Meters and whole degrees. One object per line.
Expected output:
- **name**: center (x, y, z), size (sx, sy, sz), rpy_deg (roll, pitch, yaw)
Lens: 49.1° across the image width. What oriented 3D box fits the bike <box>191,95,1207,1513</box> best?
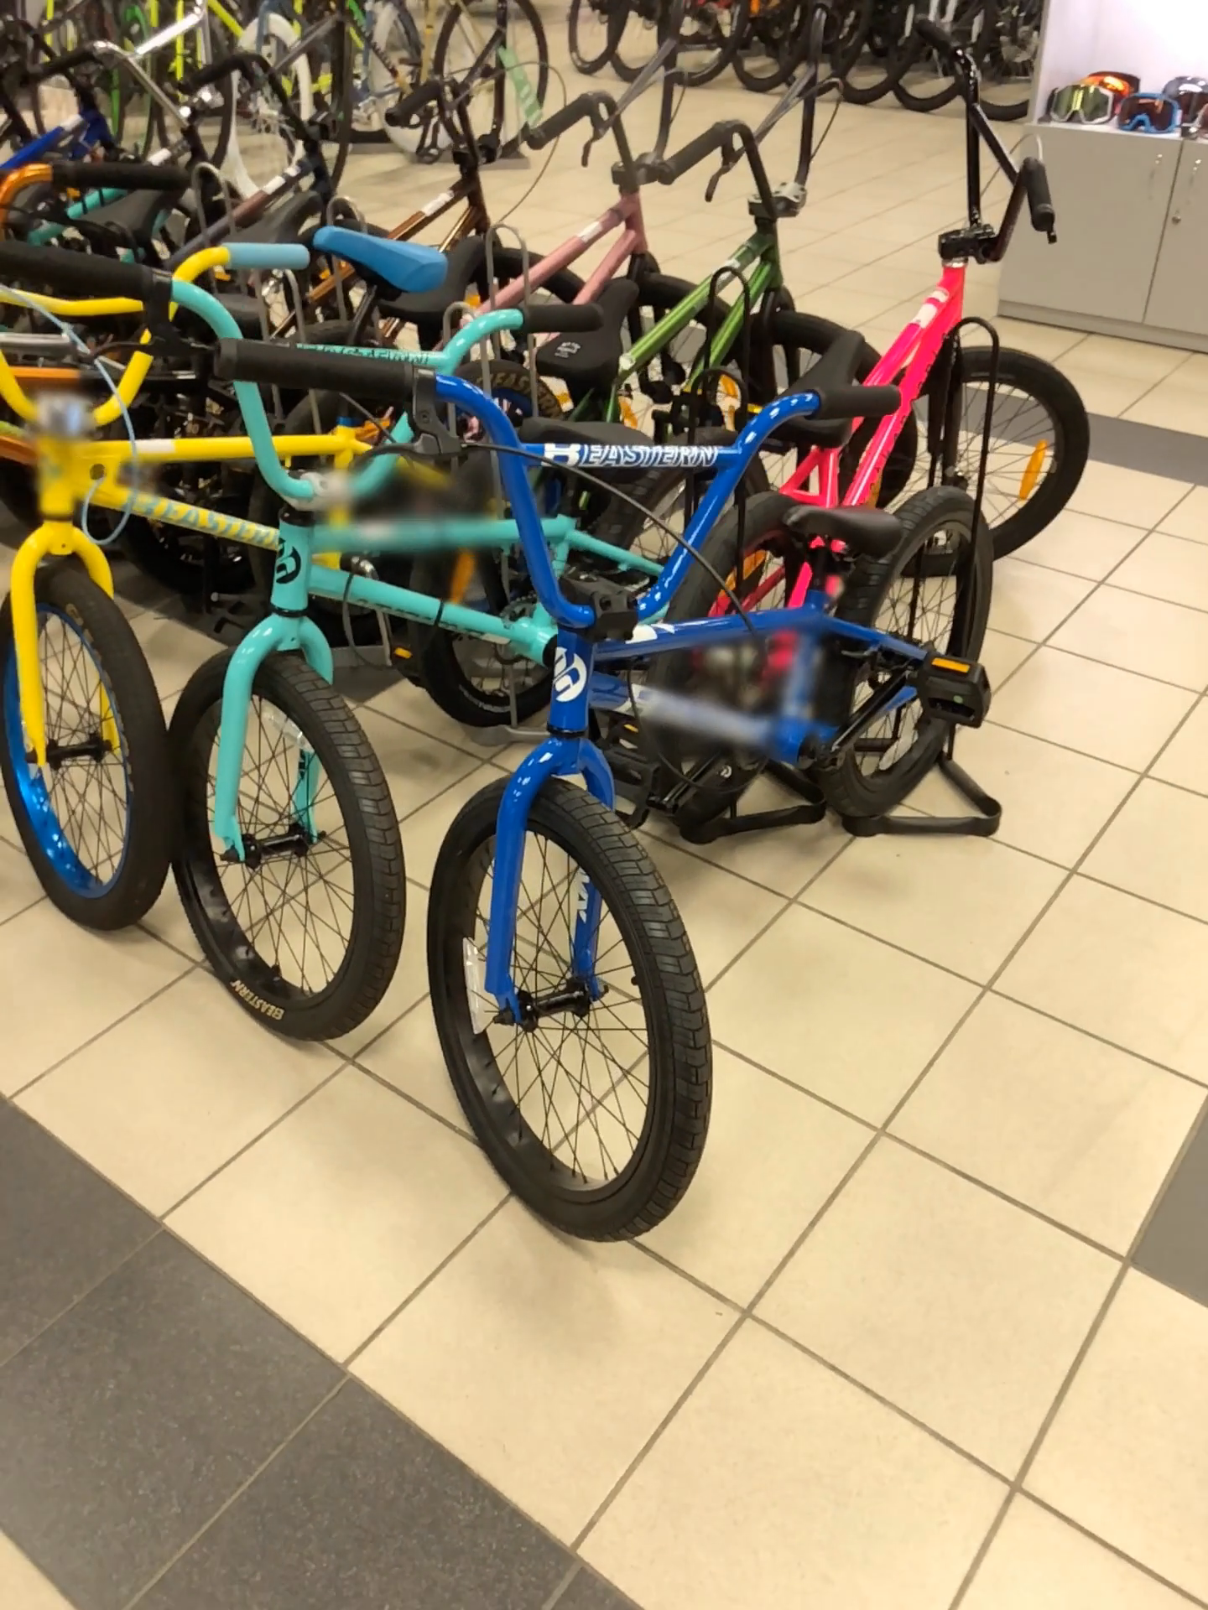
- **bike**: center (0.299, -0.203, 1.591), size (0.822, 0.961, 1.263), rpy_deg (17, 39, 23)
